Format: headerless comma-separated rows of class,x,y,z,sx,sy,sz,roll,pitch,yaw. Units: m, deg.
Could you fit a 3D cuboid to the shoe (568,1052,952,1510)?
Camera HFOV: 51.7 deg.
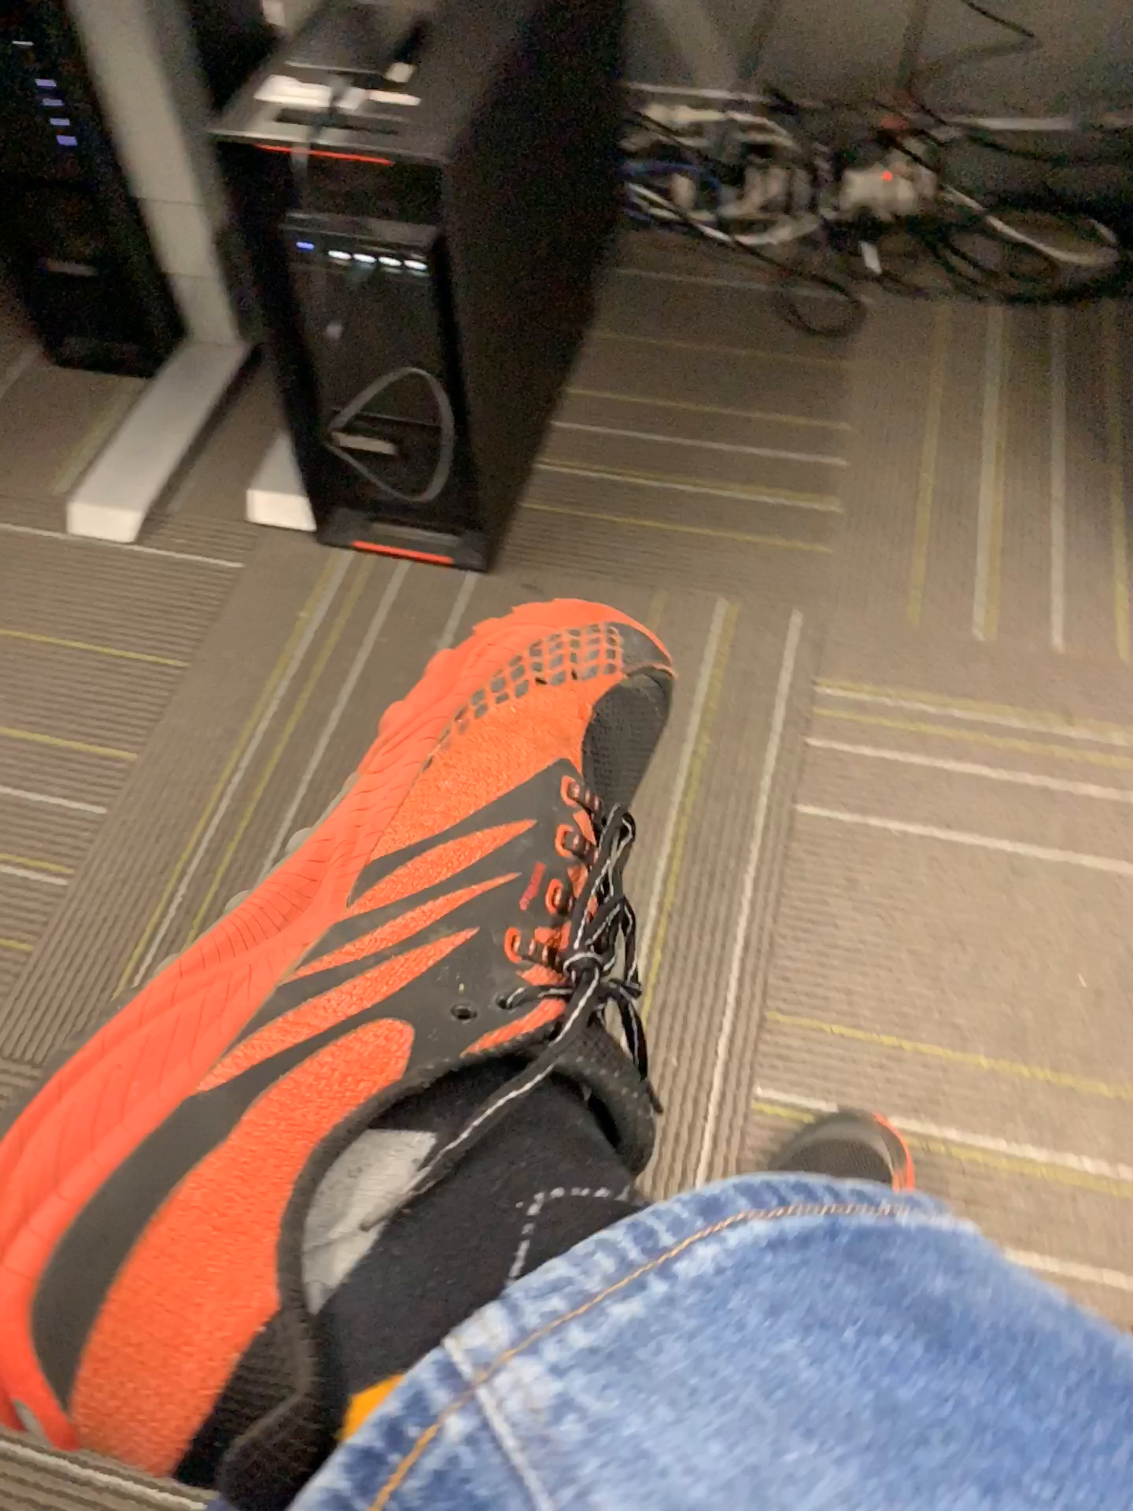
shoe,0.139,0.377,0.809,0.117,0.067,0.319,30,60,16

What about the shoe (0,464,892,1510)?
shoe,-0.031,0.066,0.349,0.146,0.110,0.321,19,55,22
